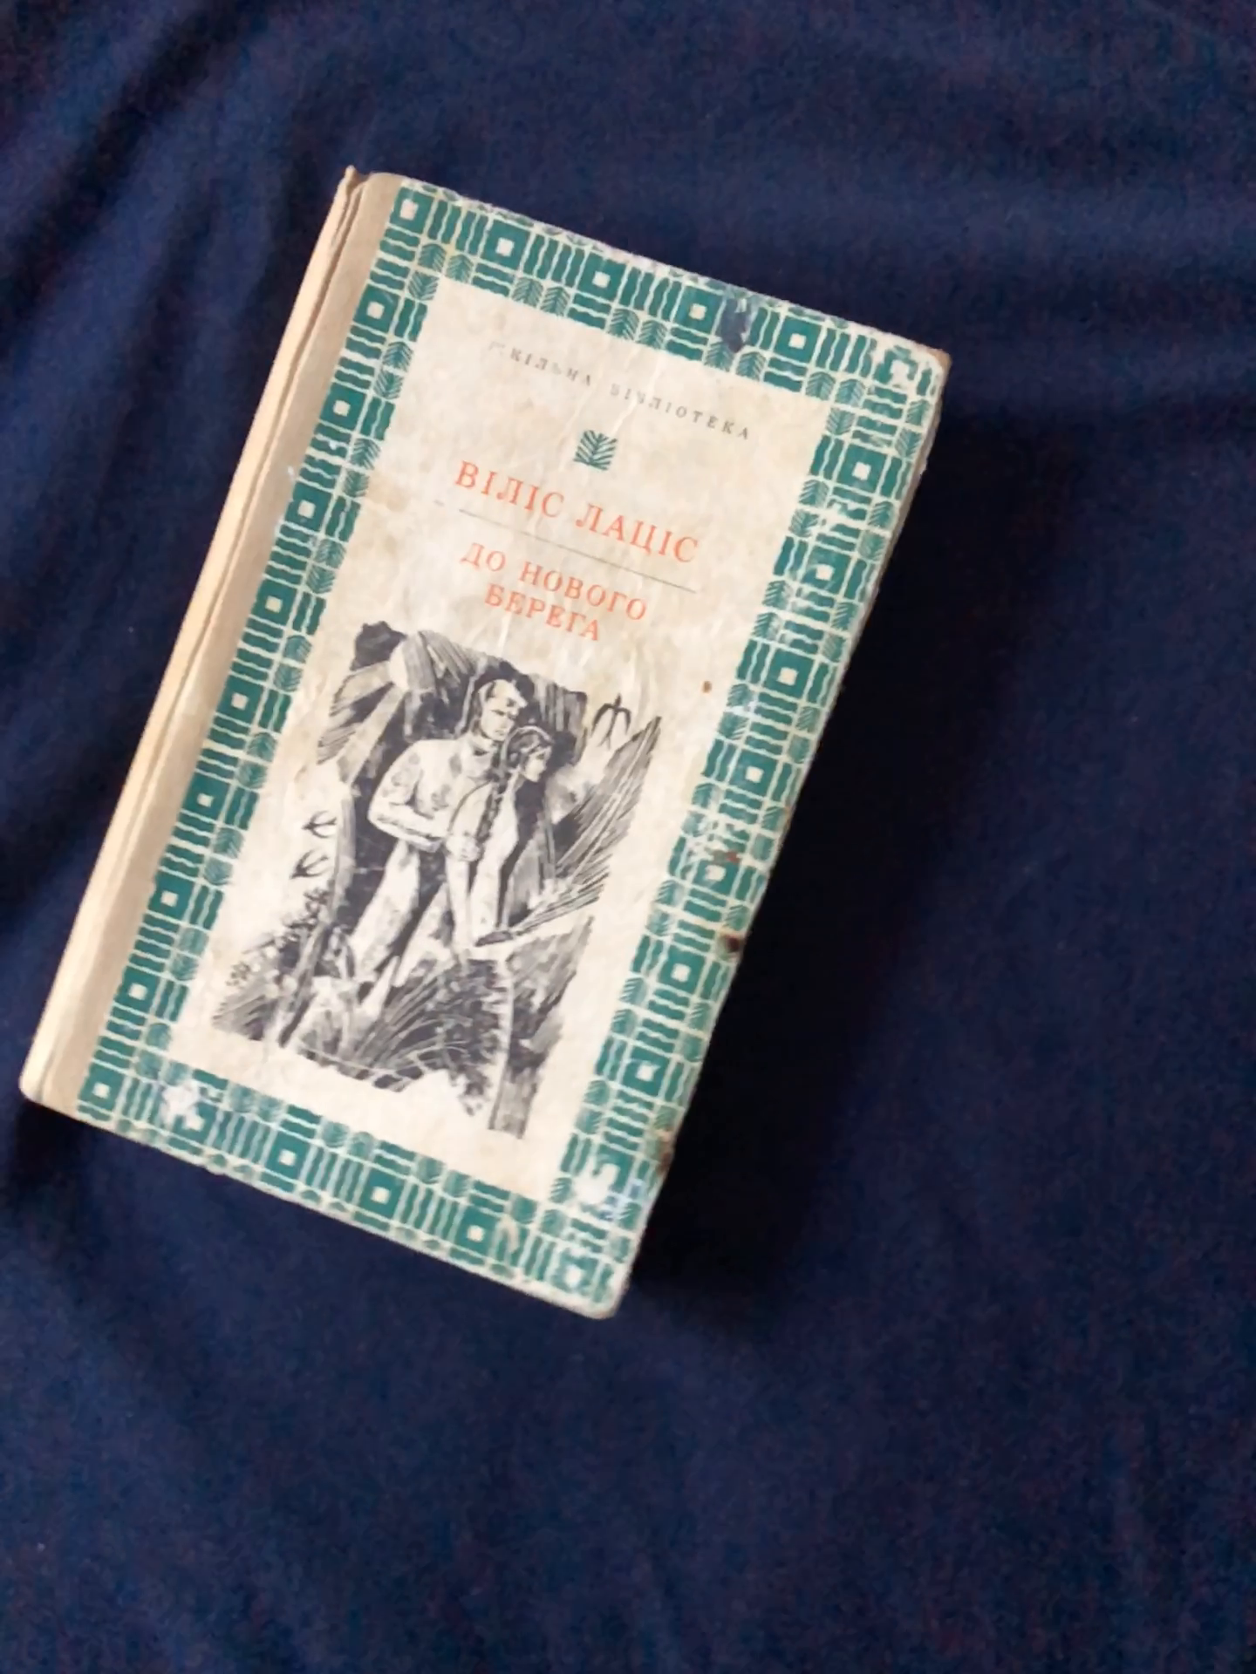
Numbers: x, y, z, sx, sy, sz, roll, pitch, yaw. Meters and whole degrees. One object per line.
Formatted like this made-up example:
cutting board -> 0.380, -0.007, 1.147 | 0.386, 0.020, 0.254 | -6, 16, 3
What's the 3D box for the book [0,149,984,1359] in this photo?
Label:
book -> -0.028, -0.019, 0.289 | 0.134, 0.040, 0.201 | 20, 88, 6
